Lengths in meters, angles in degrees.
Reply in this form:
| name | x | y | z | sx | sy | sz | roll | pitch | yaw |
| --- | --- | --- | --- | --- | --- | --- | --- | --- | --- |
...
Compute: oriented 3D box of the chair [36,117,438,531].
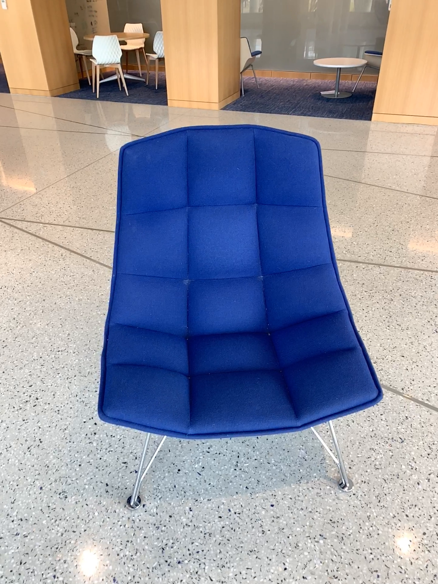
| name | x | y | z | sx | sy | sz | roll | pitch | yaw |
| --- | --- | --- | --- | --- | --- | --- | --- | --- | --- |
| chair | 0.049 | 0.054 | 1.429 | 0.798 | 0.962 | 0.836 | -3 | 33 | -3 |
